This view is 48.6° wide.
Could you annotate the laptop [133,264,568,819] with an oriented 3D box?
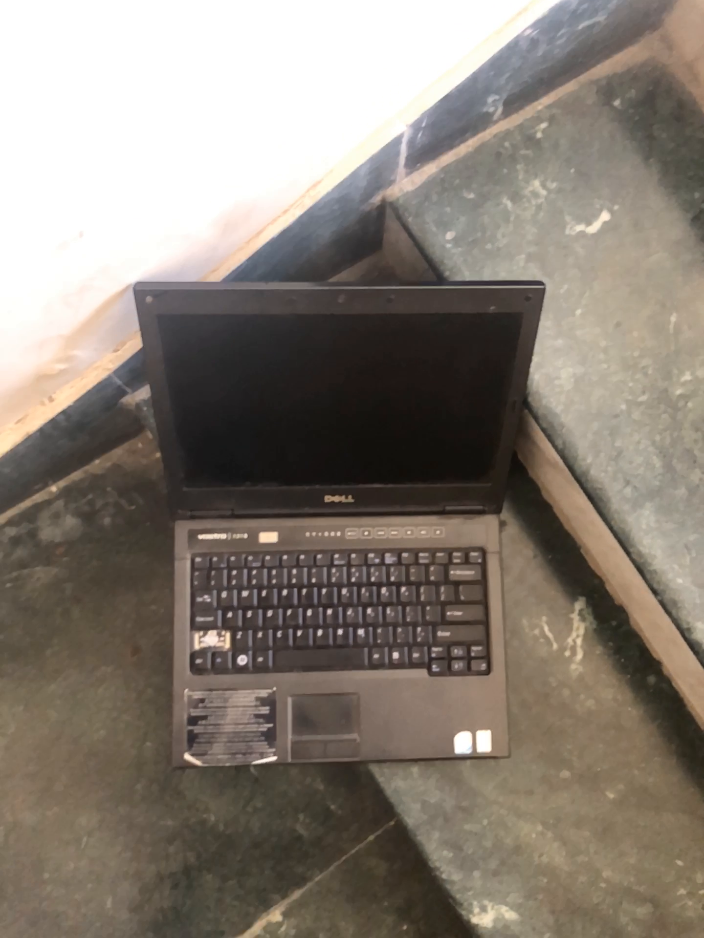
[{"bbox_3d":[-0.007,0.055,0.639,0.301,0.169,0.386,0,85,-3],"label":"laptop"}]
